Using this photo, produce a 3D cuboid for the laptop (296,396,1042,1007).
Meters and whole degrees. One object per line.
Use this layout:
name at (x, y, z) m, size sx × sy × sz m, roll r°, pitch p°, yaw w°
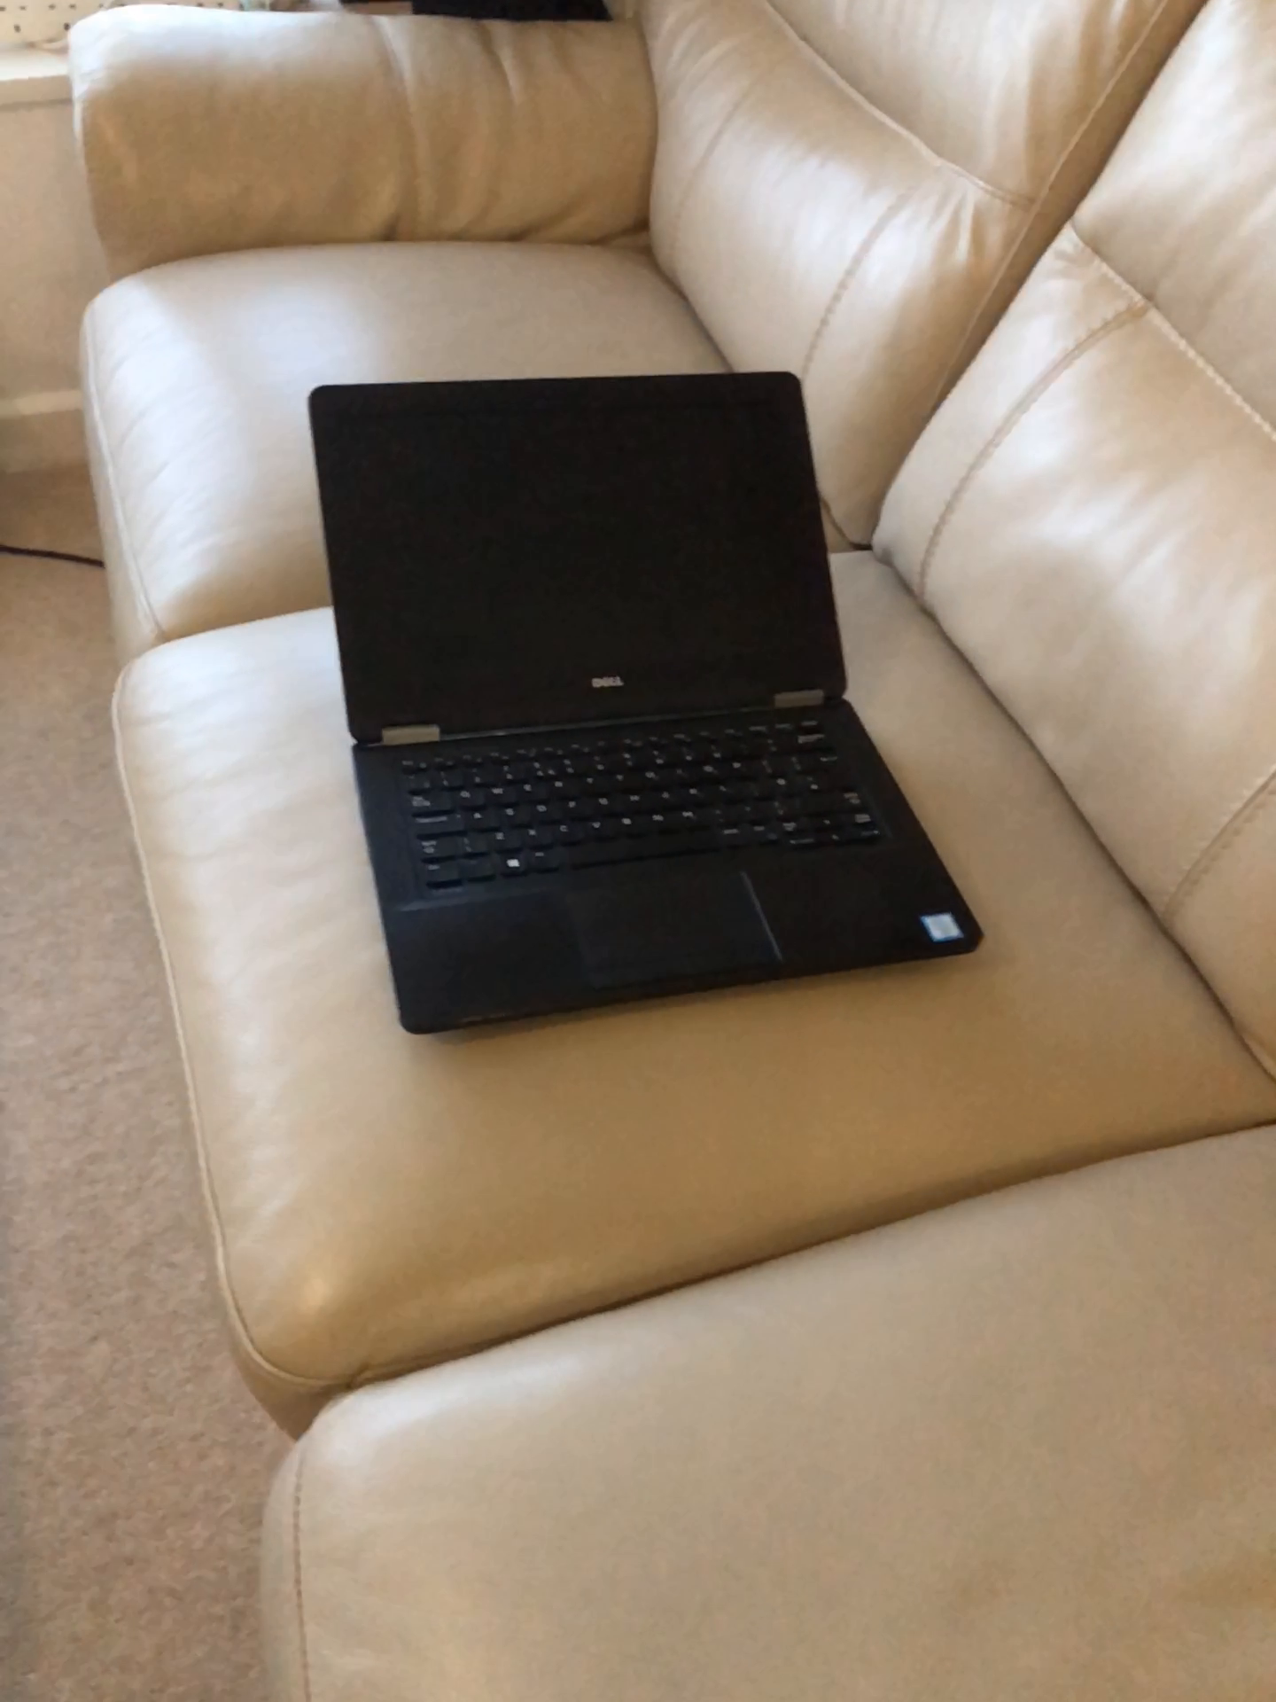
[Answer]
laptop at (-0.011, -0.111, 0.781) m, size 0.306 × 0.124 × 0.377 m, roll -7°, pitch 44°, yaw -14°
